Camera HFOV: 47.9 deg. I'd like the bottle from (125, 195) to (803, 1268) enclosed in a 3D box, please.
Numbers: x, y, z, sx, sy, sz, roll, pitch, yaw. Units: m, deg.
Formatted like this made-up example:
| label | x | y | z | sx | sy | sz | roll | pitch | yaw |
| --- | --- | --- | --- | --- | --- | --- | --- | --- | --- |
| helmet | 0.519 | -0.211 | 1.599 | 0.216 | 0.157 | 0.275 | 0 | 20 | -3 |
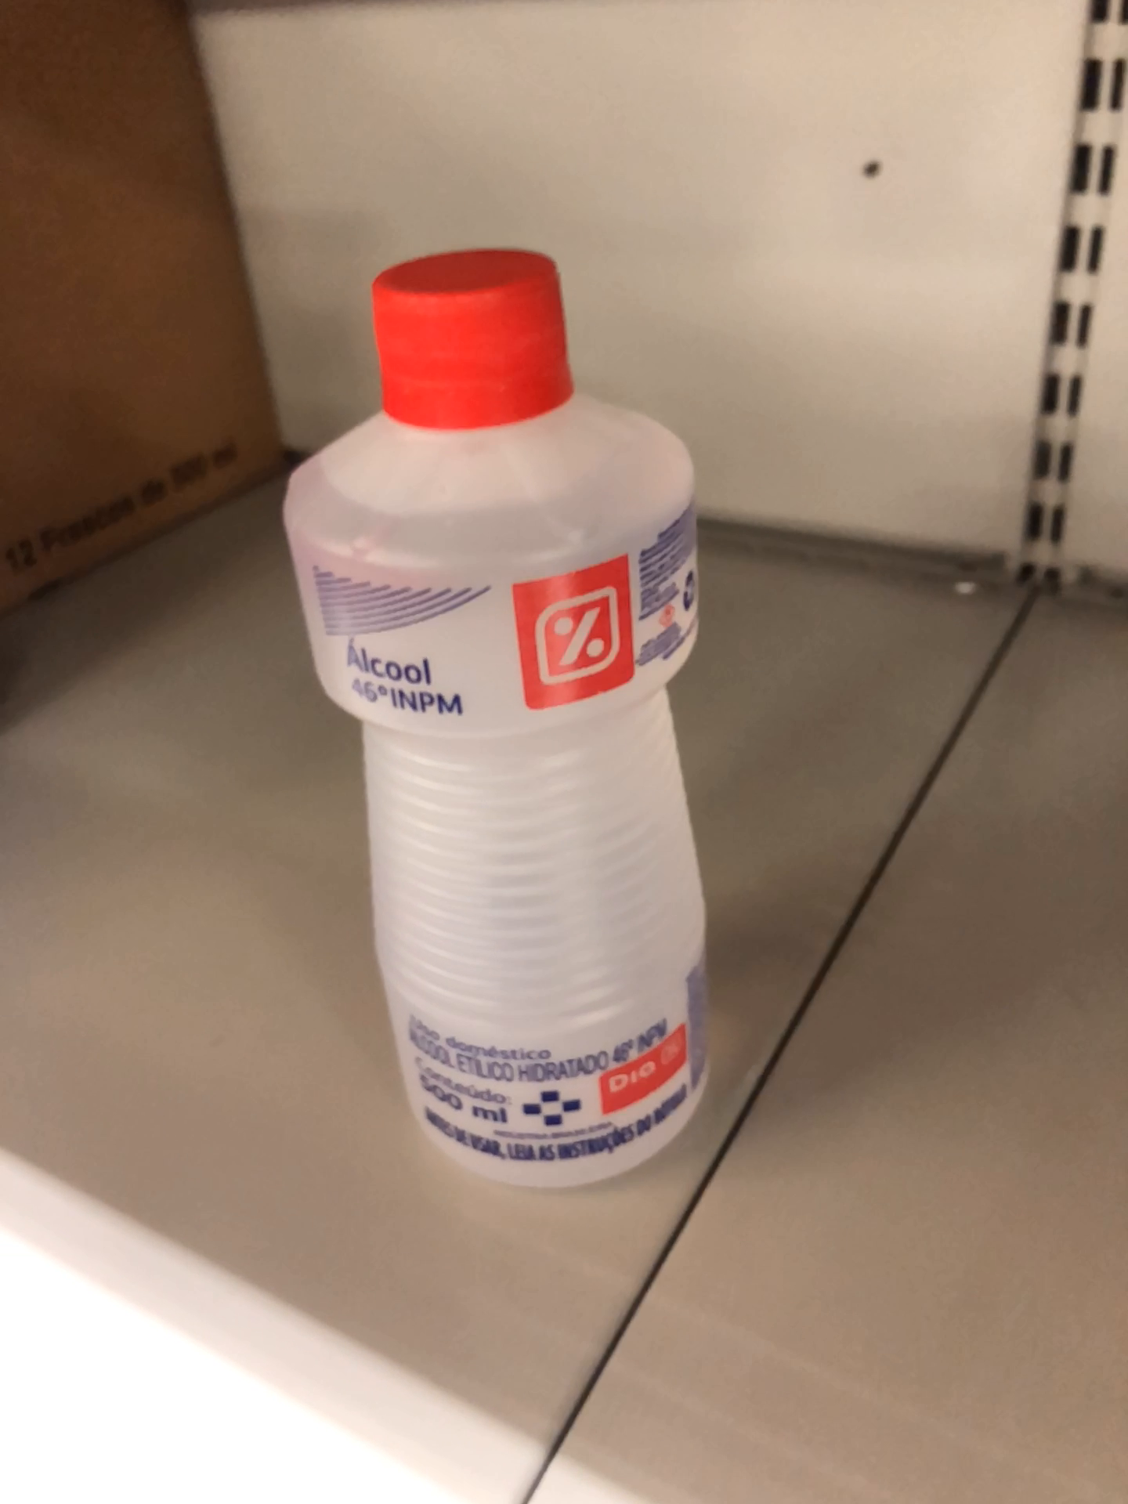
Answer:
| label | x | y | z | sx | sy | sz | roll | pitch | yaw |
| --- | --- | --- | --- | --- | --- | --- | --- | --- | --- |
| bottle | -0.001 | 0.000 | 0.242 | 0.080 | 0.179 | 0.081 | -5 | 33 | 3 |
